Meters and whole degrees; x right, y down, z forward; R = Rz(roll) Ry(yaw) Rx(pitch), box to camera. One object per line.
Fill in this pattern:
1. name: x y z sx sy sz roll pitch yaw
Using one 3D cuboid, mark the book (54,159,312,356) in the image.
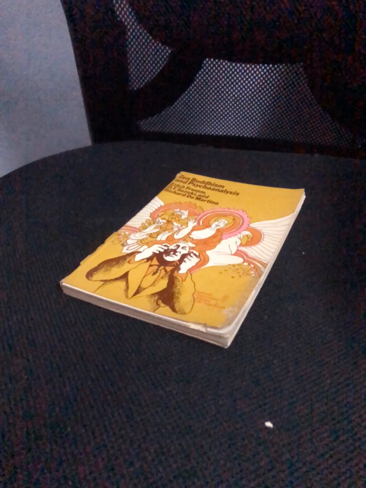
1. book: 0.015 -0.011 0.335 0.136 0.020 0.201 14 40 22
